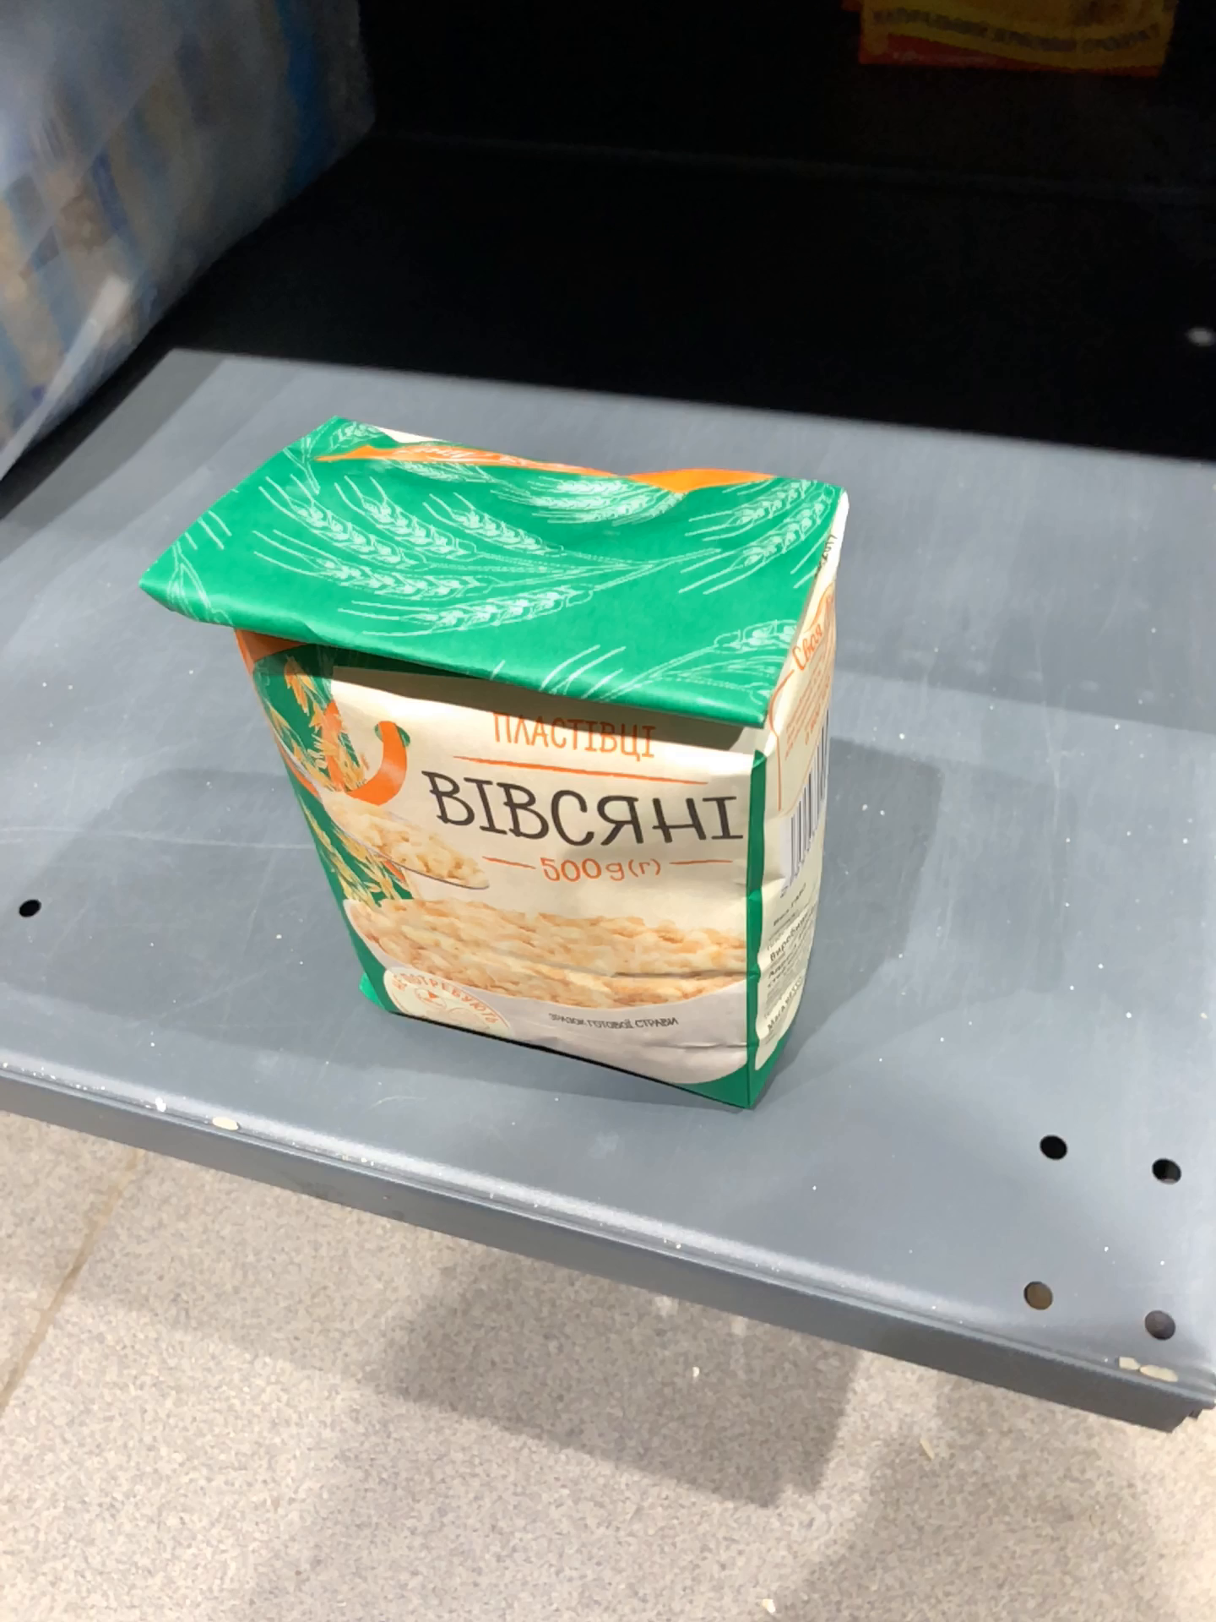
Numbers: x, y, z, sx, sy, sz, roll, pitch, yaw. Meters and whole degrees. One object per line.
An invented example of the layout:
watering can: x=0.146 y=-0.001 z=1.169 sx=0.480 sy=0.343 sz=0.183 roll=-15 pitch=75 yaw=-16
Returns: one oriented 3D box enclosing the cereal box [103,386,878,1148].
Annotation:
cereal box: x=-0.014 y=-0.004 z=0.290 sx=0.120 sy=0.139 sz=0.070 roll=10 pitch=52 yaw=13
